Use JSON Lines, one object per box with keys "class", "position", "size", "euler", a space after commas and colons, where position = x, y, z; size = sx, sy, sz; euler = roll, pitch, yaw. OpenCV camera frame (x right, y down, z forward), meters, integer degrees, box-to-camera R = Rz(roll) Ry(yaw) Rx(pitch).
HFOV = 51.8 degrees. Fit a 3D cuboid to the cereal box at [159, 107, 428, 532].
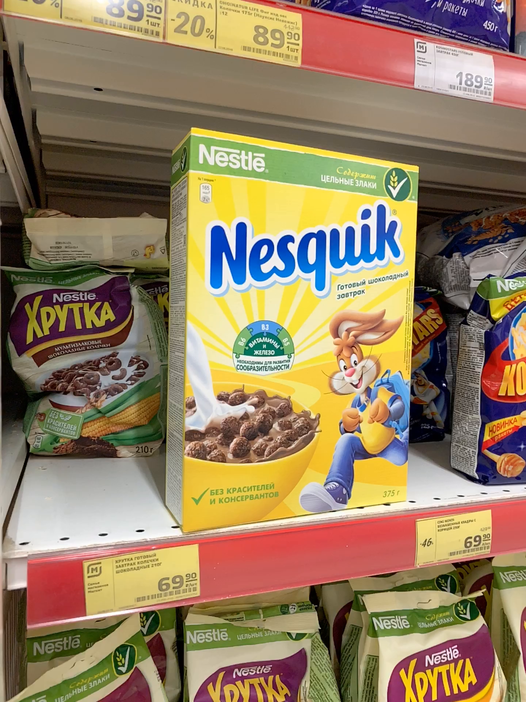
{"class": "cereal box", "position": [0.024, -0.020, 0.410], "size": [0.190, 0.270, 0.060], "euler": [0, 3, -24]}
